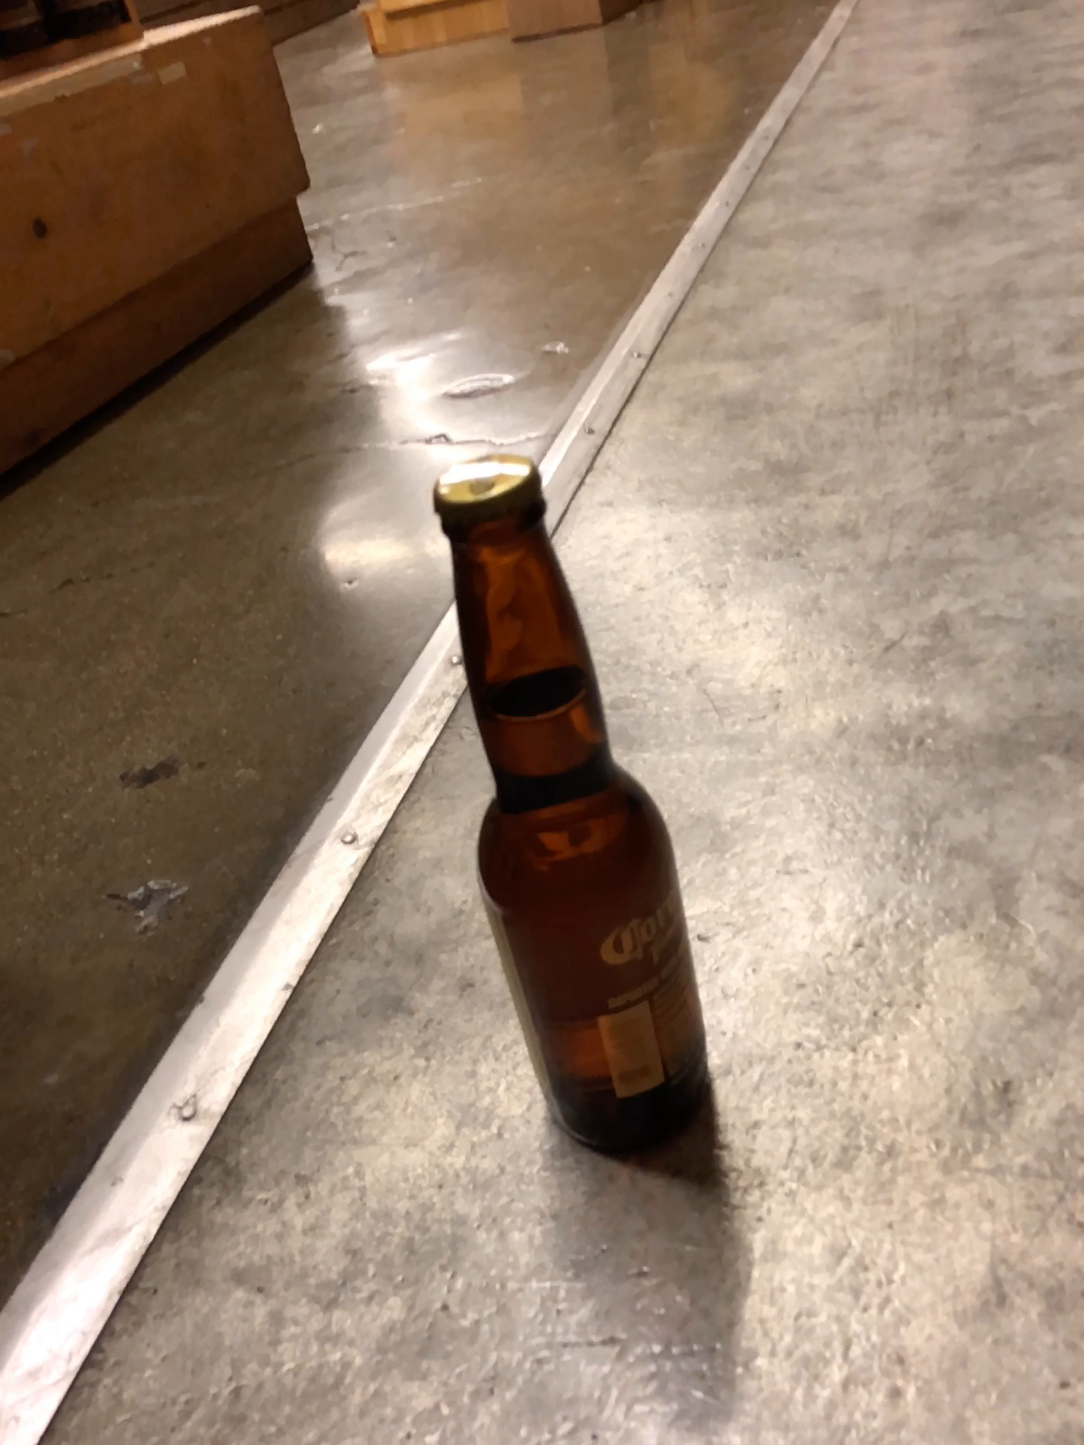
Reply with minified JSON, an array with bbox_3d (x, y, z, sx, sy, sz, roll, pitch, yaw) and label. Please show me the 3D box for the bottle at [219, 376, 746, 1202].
[{"bbox_3d":[-0.002,0.025,0.324,0.070,0.216,0.070,-9,35,6],"label":"bottle"}]
